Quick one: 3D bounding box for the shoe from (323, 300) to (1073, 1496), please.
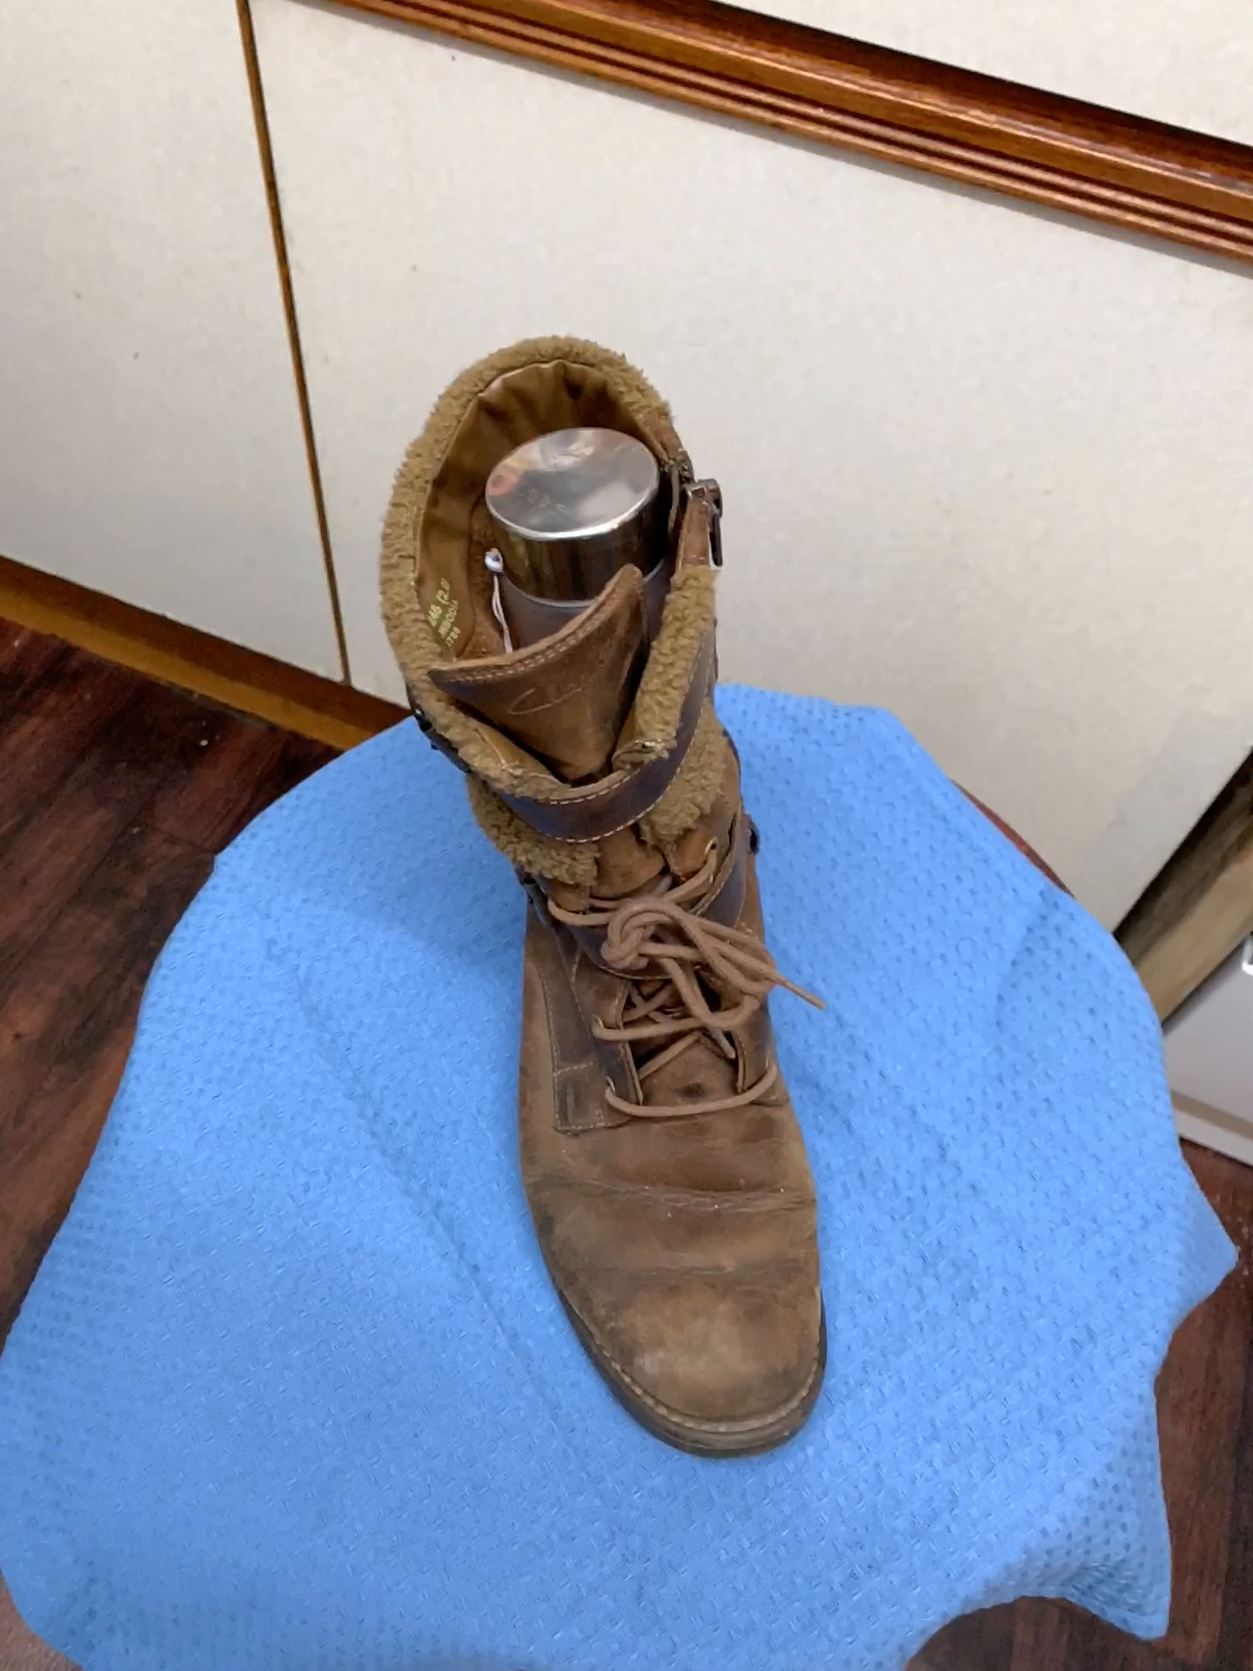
[{"bbox_3d":[0.007,0.029,0.370,0.120,0.228,0.252,-6,56,0],"label":"shoe"}]
